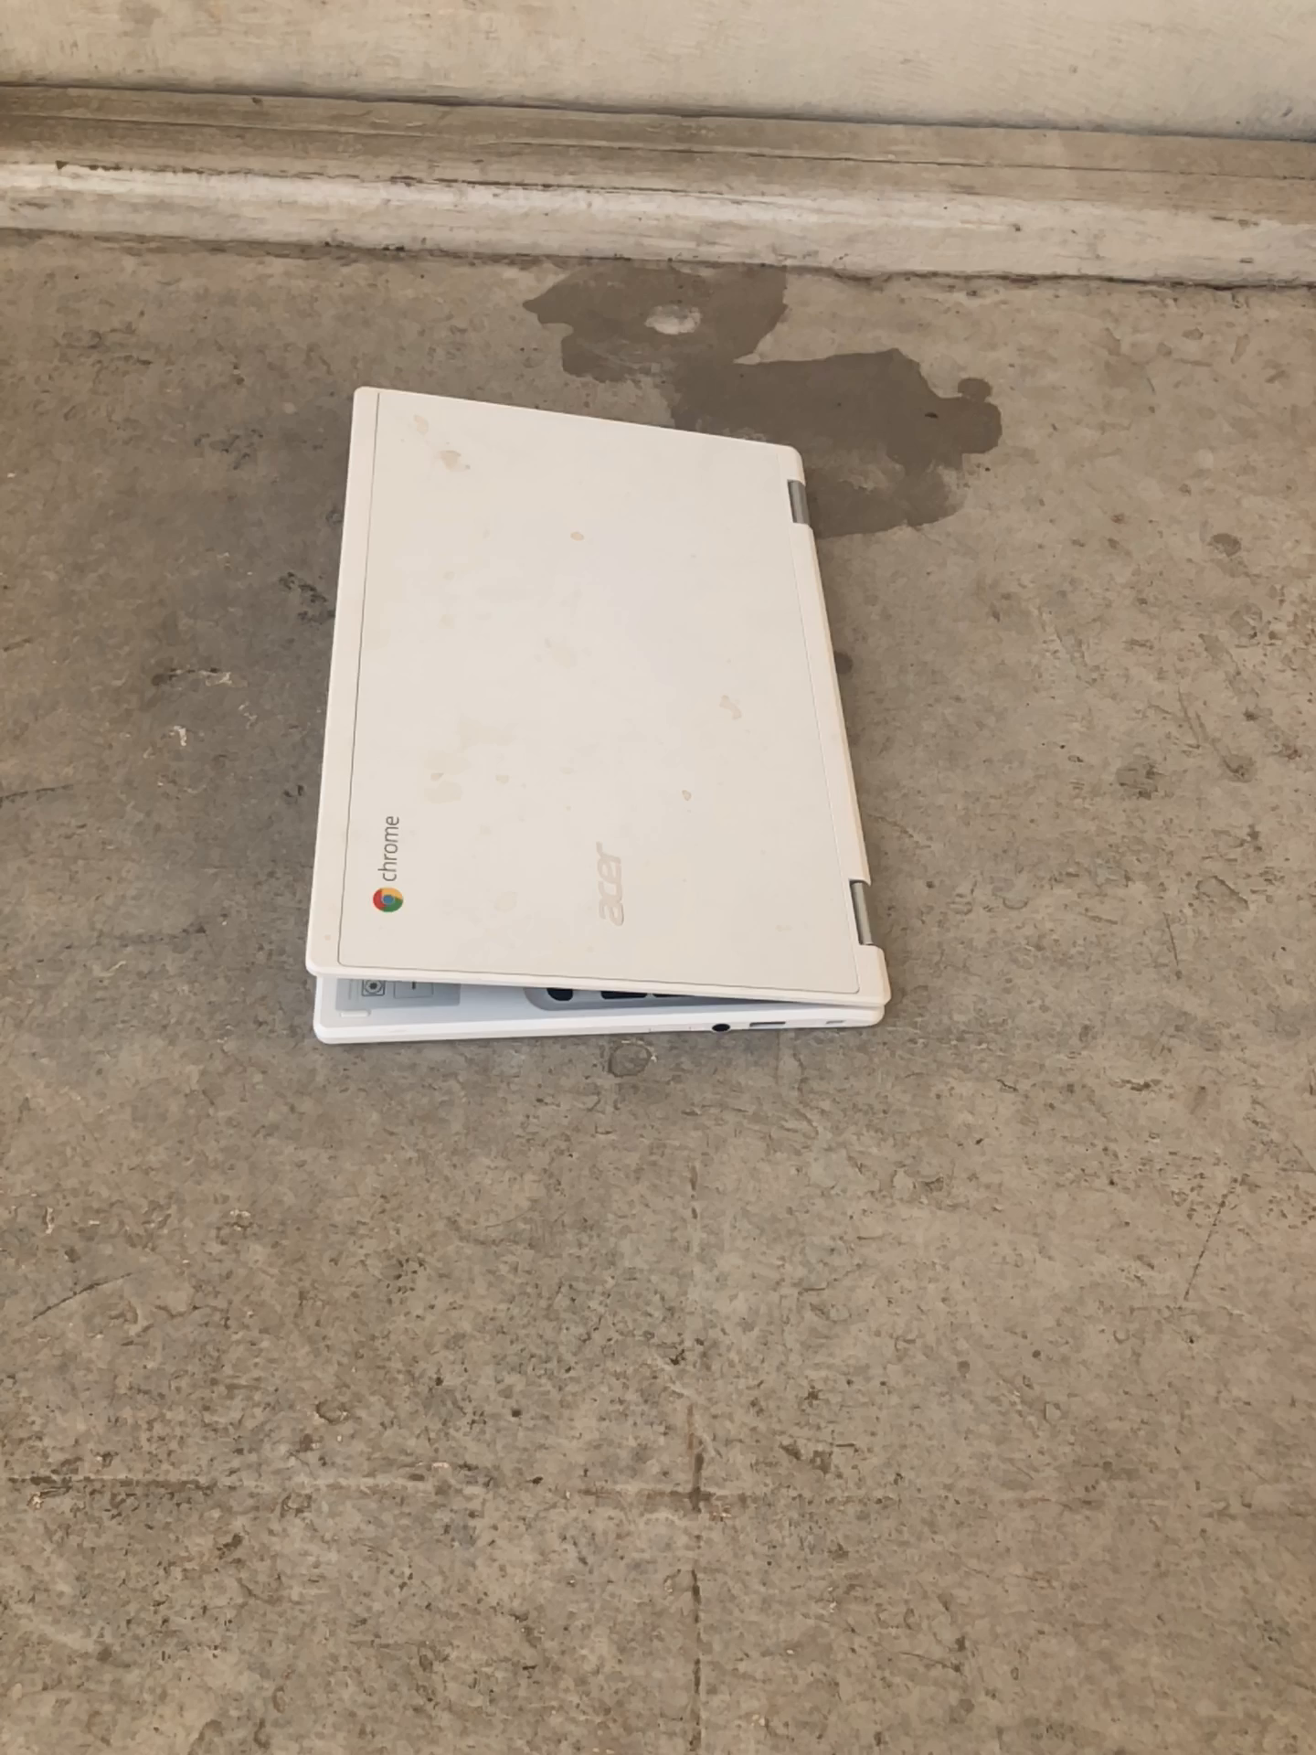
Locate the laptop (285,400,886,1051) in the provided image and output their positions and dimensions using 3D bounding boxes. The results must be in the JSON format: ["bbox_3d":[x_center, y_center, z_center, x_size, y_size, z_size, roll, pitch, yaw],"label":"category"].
[{"bbox_3d":[-0.029,-0.071,0.556,0.190,0.046,0.279,0,56,-5],"label":"laptop"}]
